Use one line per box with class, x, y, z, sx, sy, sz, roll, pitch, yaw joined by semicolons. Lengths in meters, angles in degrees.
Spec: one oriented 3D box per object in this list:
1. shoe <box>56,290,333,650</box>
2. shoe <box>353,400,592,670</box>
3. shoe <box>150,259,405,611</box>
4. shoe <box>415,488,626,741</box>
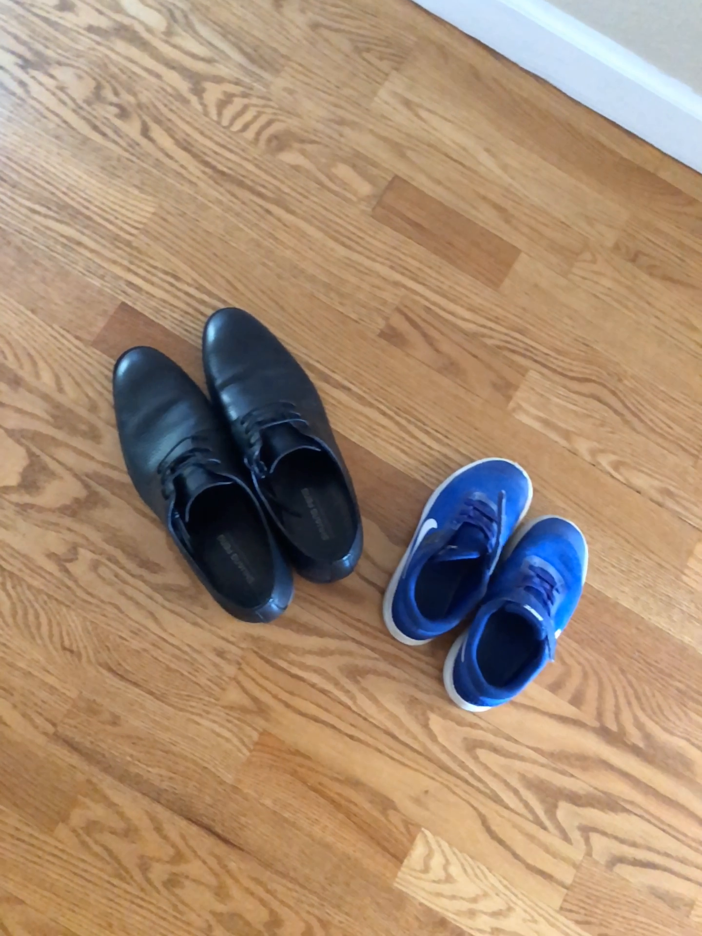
shoe;-0.150;0.003;0.752;0.120;0.090;0.320;-28;82;-10
shoe;0.114;0.069;0.762;0.100;0.130;0.230;35;77;3
shoe;-0.076;-0.031;0.771;0.120;0.090;0.320;-24;81;-10
shoe;0.169;0.144;0.773;0.100;0.070;0.220;32;77;2
